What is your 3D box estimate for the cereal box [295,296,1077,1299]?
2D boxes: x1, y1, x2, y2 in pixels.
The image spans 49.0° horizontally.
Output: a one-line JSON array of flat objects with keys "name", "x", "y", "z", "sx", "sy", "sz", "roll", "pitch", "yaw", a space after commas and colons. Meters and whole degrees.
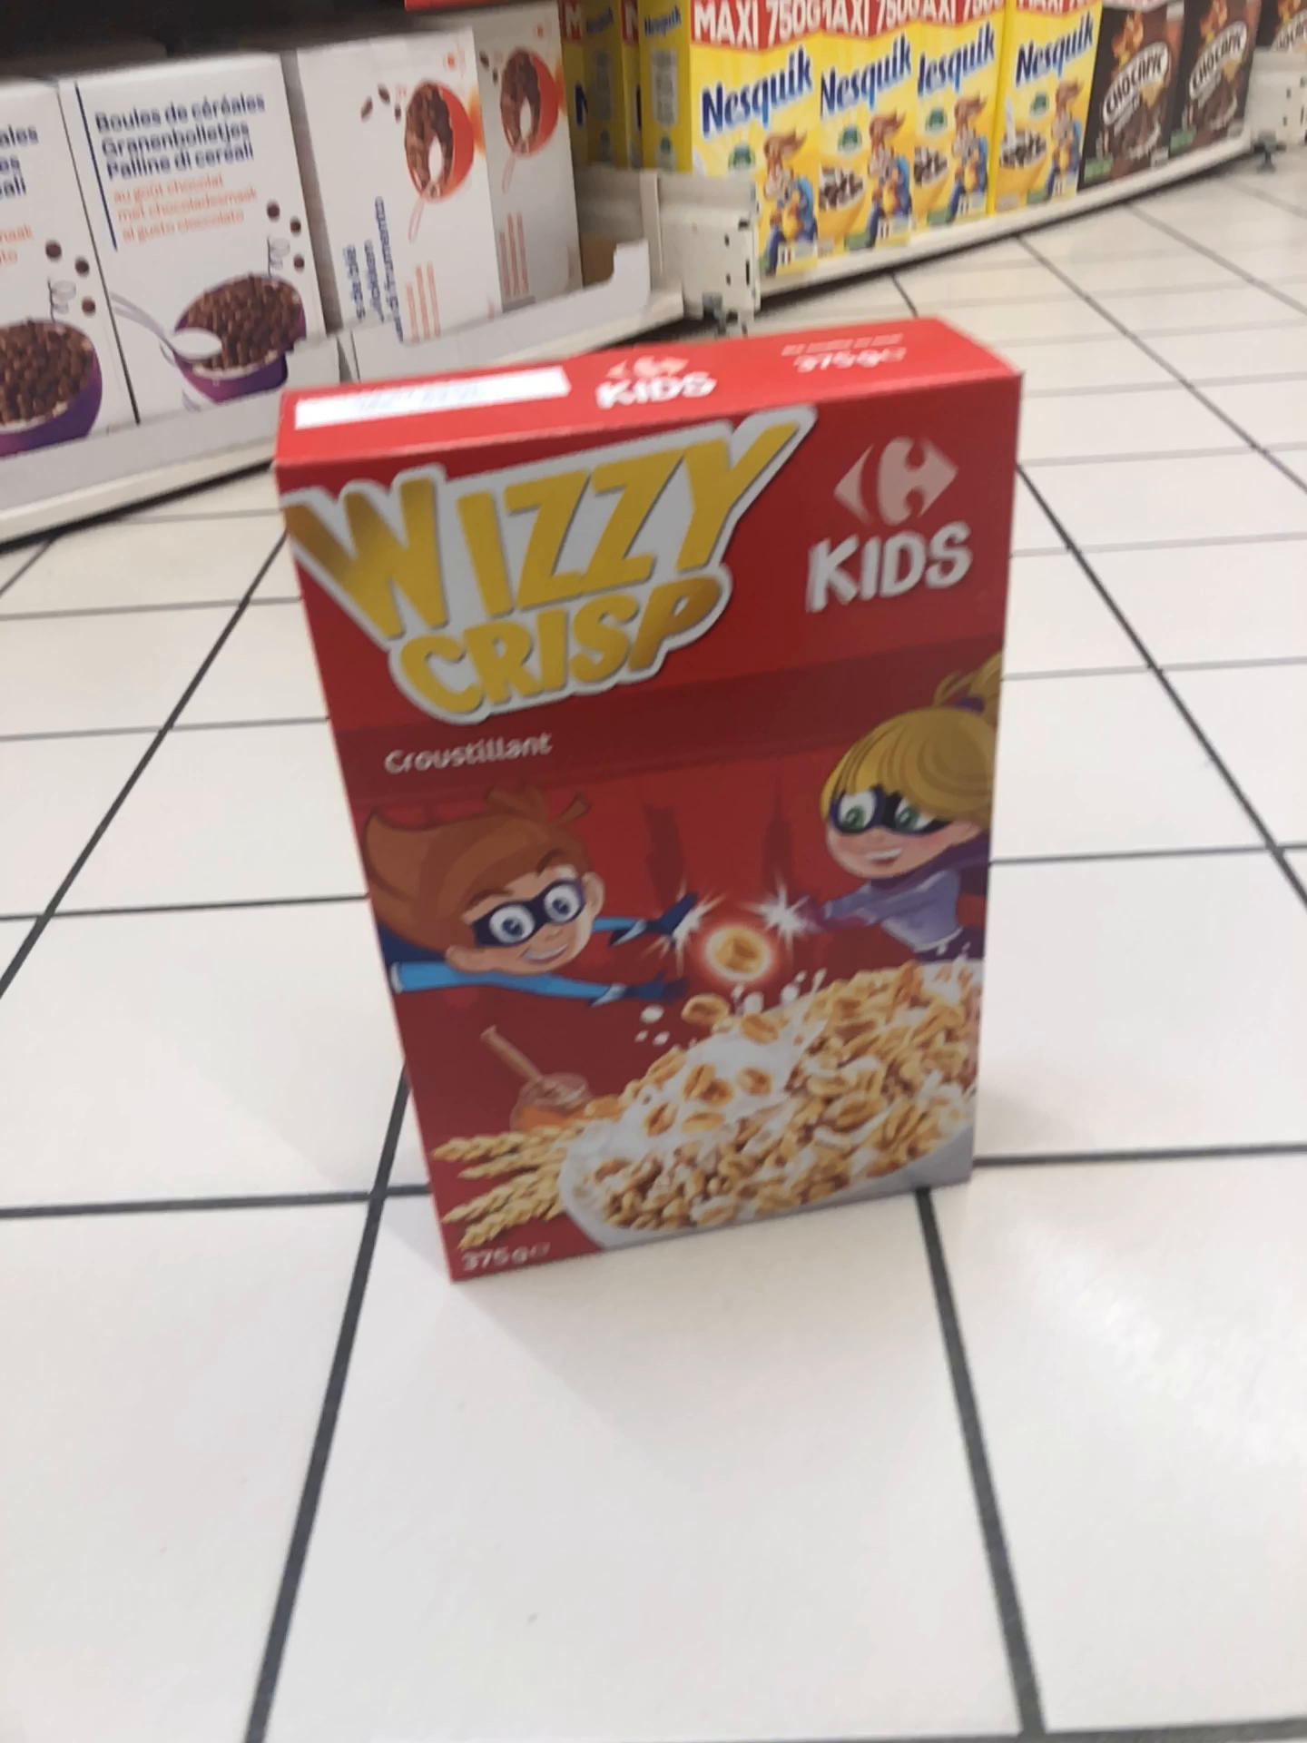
[{"name": "cereal box", "x": 0.012, "y": -0.015, "z": 0.451, "sx": 0.190, "sy": 0.278, "sz": 0.090, "roll": -10, "pitch": 32, "yaw": -8}]
